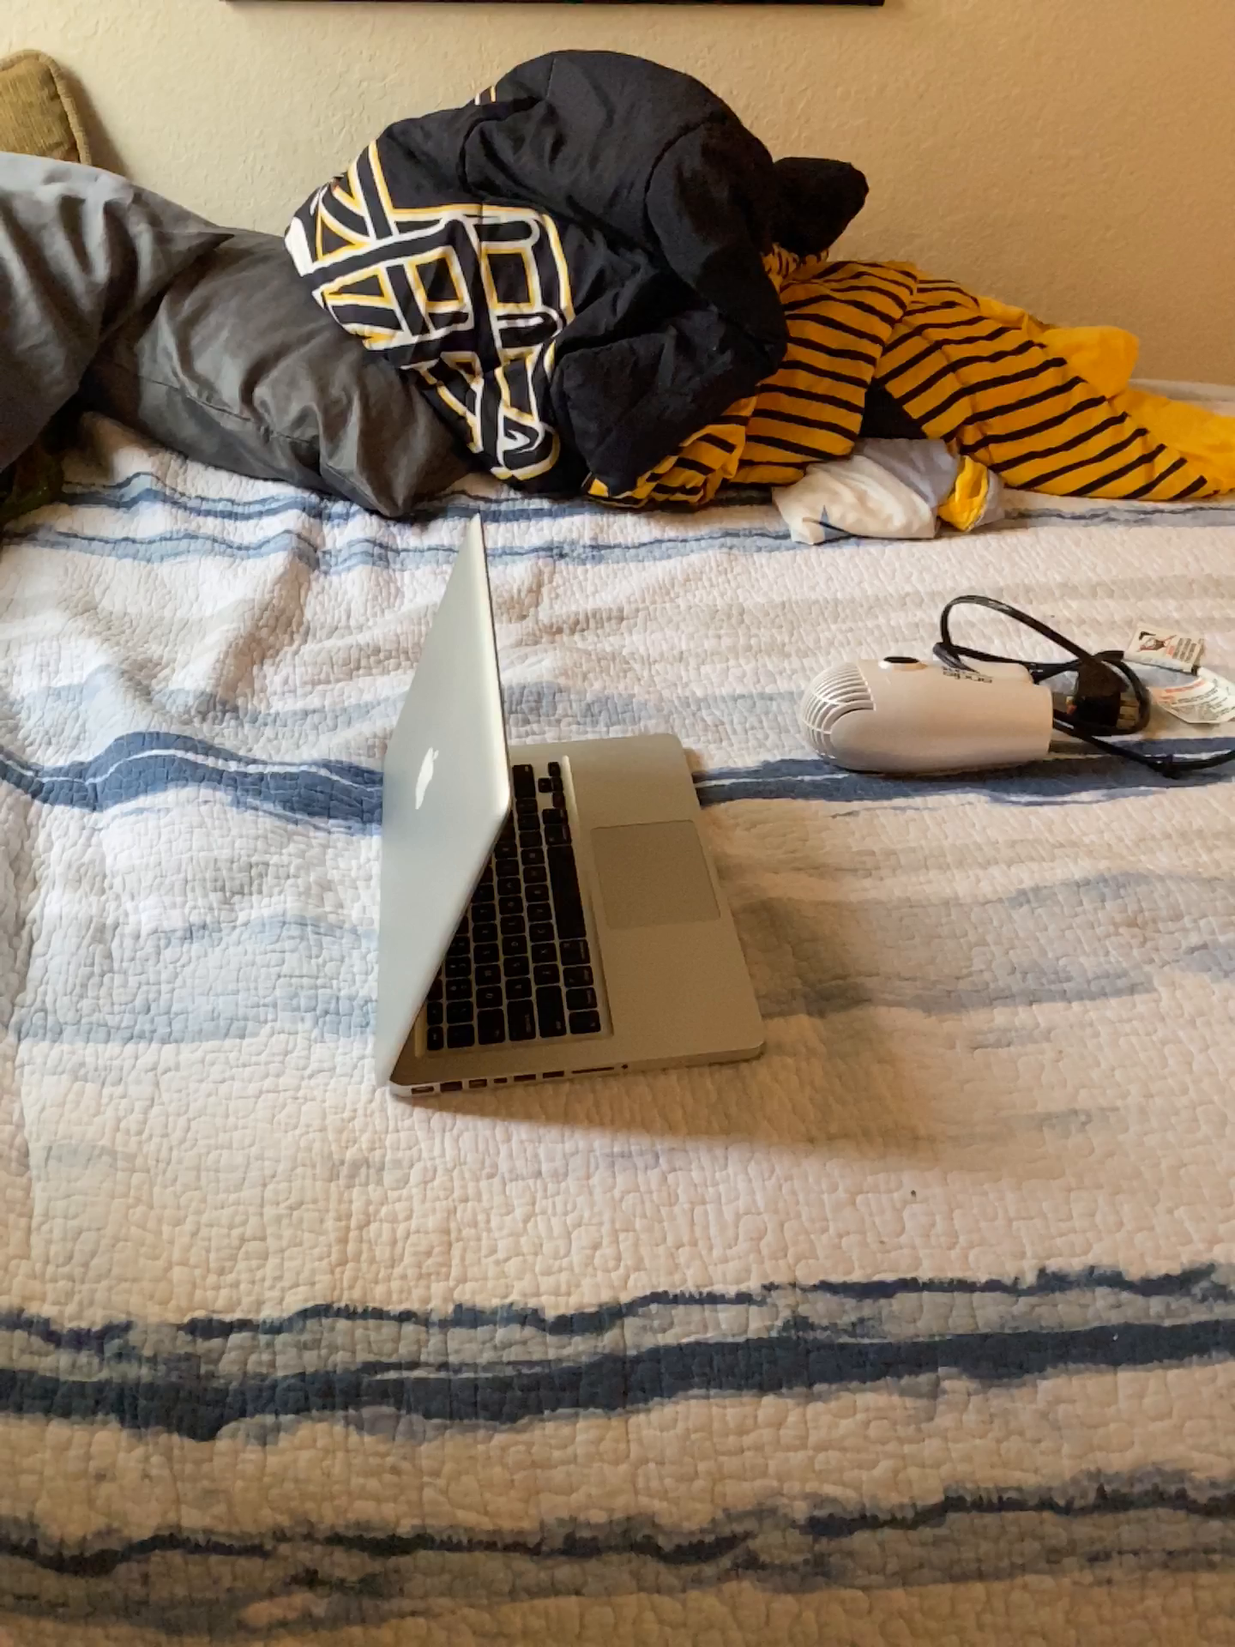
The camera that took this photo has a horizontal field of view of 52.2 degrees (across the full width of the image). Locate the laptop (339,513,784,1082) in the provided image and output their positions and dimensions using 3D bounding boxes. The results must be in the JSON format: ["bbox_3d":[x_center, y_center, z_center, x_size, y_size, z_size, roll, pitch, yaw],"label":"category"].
[{"bbox_3d":[-0.043,-0.030,0.780,0.214,0.188,0.302,-5,40,-4],"label":"laptop"}]
